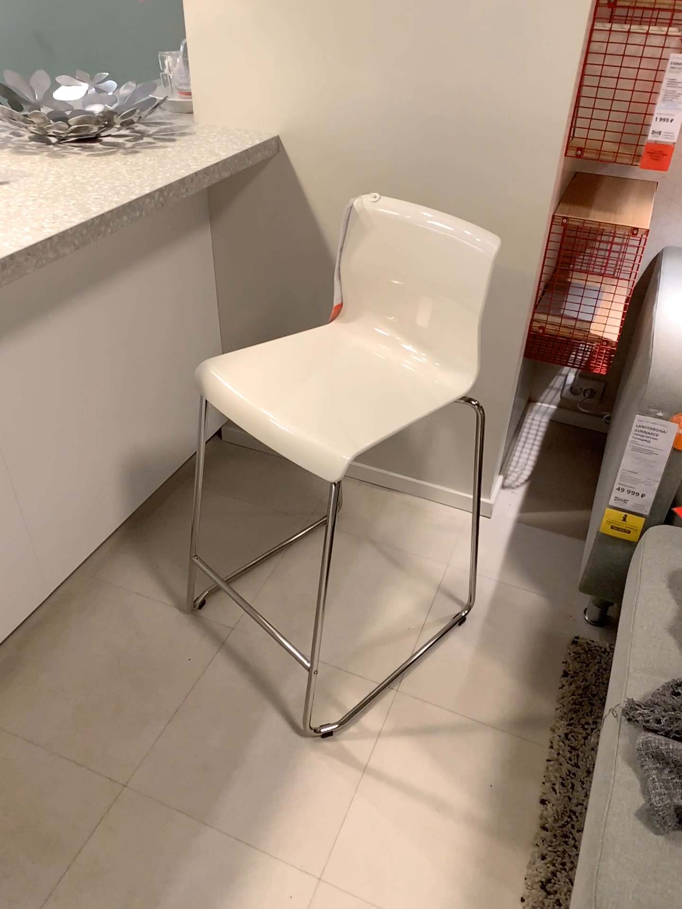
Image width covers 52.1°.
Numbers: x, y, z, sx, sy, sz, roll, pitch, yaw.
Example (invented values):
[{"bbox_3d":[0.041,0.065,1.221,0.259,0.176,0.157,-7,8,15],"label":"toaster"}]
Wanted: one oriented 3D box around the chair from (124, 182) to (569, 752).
[{"bbox_3d":[-0.005,0.013,1.431,0.542,0.905,0.511,-26,45,-33],"label":"chair"}]
